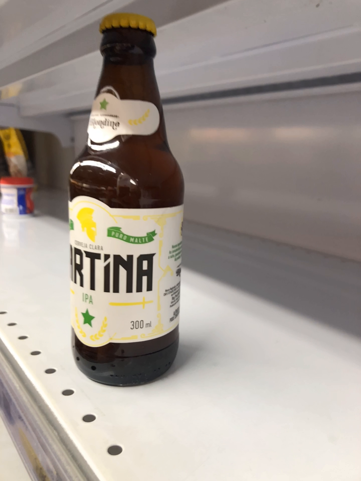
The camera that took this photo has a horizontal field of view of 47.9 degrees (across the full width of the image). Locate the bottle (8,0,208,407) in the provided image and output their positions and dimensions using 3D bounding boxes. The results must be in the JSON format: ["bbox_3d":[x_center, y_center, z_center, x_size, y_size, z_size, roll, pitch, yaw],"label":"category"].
[{"bbox_3d":[-0.034,-0.026,0.209,0.070,0.189,0.060,8,13,28],"label":"bottle"}]
